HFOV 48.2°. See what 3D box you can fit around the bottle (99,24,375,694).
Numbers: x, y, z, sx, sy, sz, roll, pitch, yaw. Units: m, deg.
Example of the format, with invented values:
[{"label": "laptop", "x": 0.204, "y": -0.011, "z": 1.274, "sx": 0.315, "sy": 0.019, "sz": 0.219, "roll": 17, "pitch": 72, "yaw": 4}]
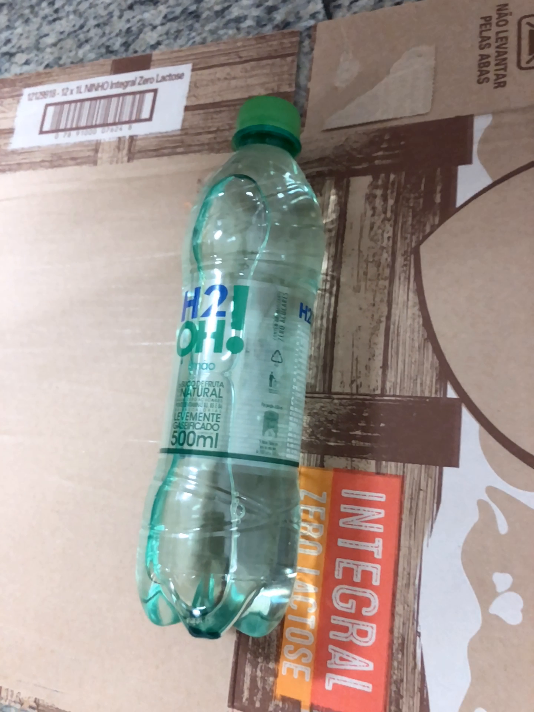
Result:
[{"label": "bottle", "x": -0.004, "y": -0.010, "z": 0.250, "sx": 0.070, "sy": 0.050, "sz": 0.250, "roll": 2, "pitch": 76, "yaw": 21}]
